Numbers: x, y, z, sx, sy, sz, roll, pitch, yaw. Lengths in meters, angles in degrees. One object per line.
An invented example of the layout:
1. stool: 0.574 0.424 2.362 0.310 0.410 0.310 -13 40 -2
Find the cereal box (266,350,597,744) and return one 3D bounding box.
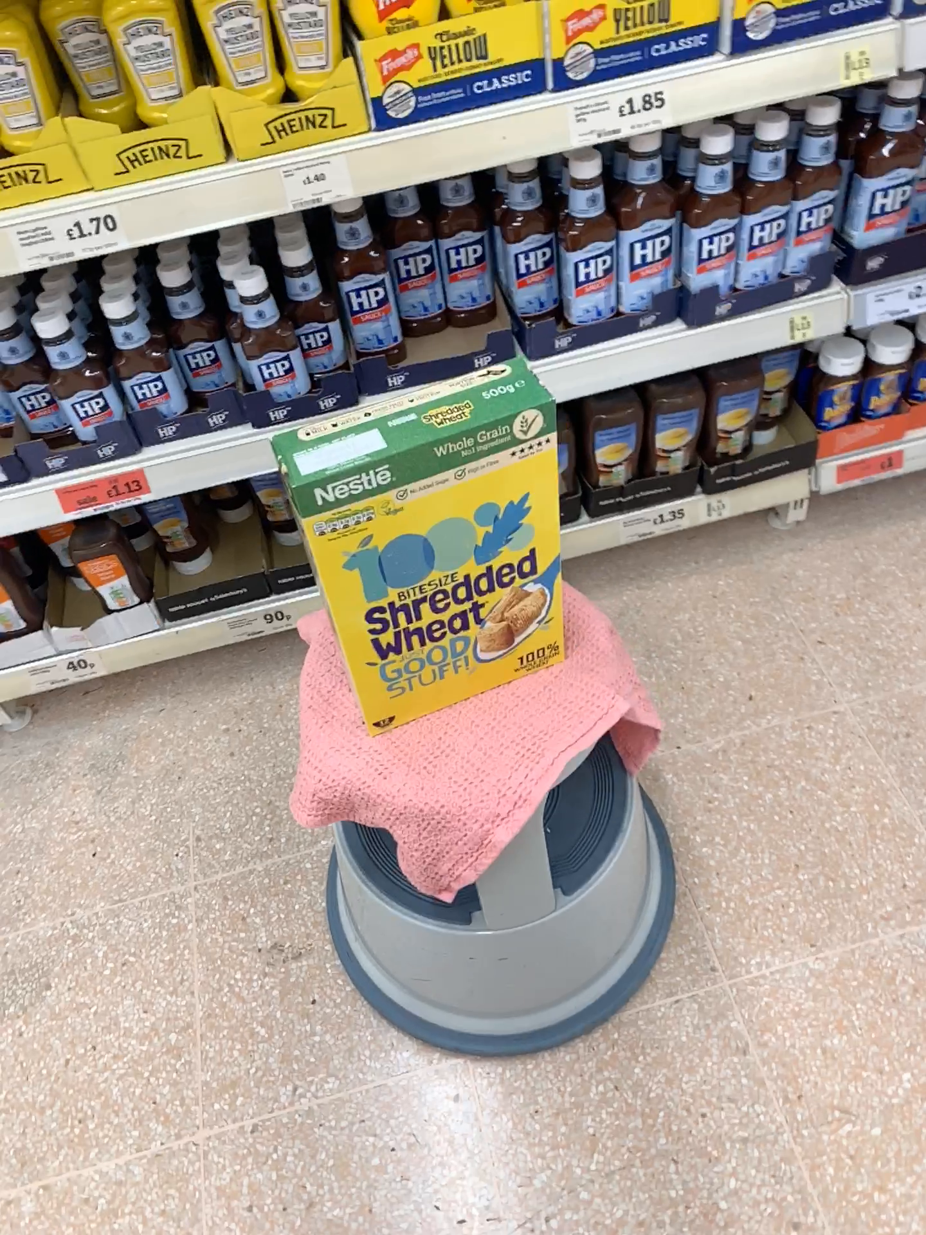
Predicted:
1. cereal box: -0.008 -0.042 0.742 0.210 0.278 0.071 -20 49 -8
